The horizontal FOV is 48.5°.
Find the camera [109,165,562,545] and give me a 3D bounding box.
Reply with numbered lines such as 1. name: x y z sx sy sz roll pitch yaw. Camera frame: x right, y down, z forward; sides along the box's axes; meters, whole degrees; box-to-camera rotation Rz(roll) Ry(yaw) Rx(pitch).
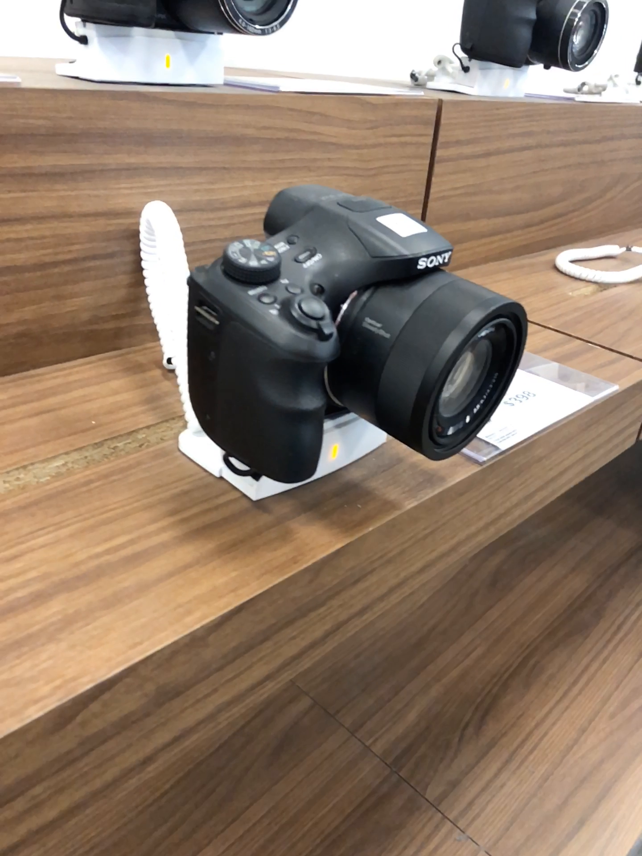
1. camera: 0.001 -0.048 0.322 0.140 0.100 0.130 31 37 33
